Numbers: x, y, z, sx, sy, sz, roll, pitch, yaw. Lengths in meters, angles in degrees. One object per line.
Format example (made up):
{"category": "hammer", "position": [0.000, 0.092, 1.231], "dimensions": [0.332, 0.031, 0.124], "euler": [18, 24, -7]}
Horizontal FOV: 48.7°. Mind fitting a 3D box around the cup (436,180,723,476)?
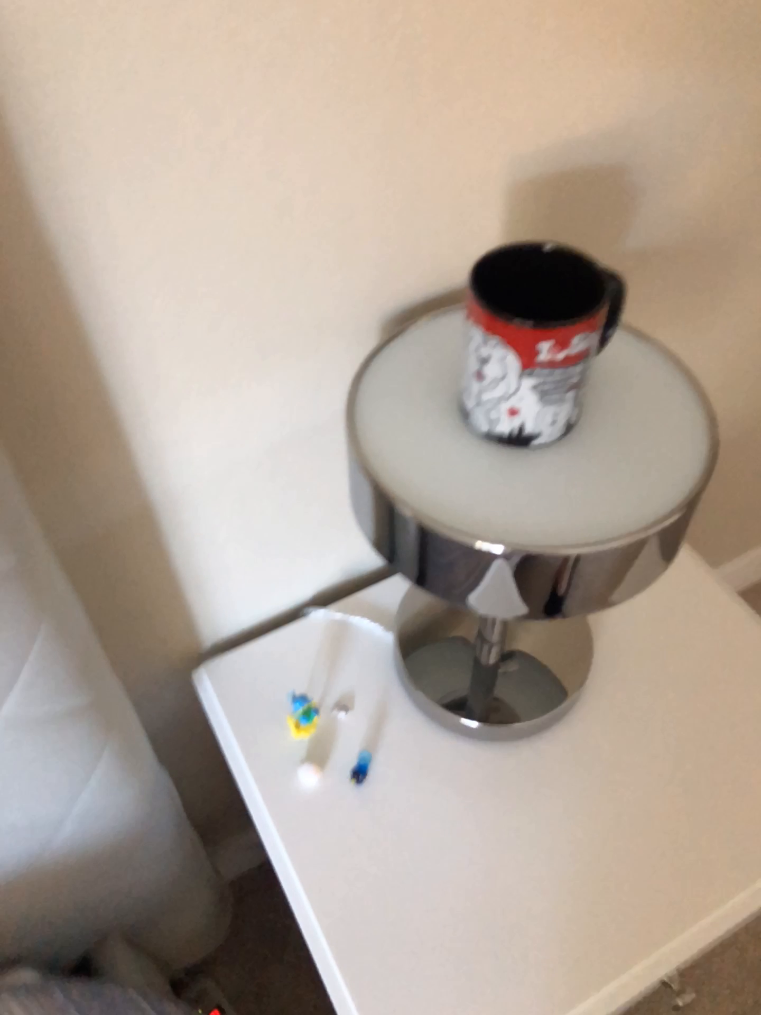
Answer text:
{"category": "cup", "position": [0.113, -0.109, 0.502], "dimensions": [0.130, 0.100, 0.090], "euler": [-34, 57, -25]}
